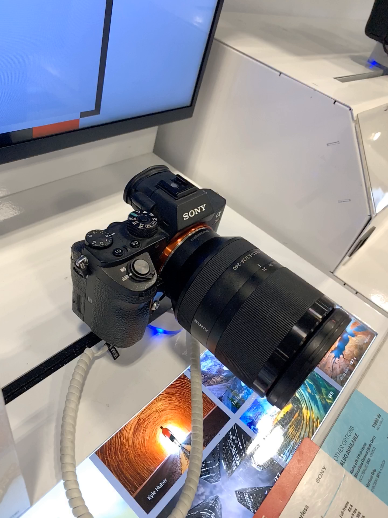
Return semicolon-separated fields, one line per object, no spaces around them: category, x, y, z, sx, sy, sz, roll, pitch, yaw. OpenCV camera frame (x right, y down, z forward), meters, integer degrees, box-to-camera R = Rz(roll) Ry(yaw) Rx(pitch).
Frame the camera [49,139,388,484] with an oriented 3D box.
camera;0.017;0.017;0.273;0.184;0.091;0.129;36;44;18
